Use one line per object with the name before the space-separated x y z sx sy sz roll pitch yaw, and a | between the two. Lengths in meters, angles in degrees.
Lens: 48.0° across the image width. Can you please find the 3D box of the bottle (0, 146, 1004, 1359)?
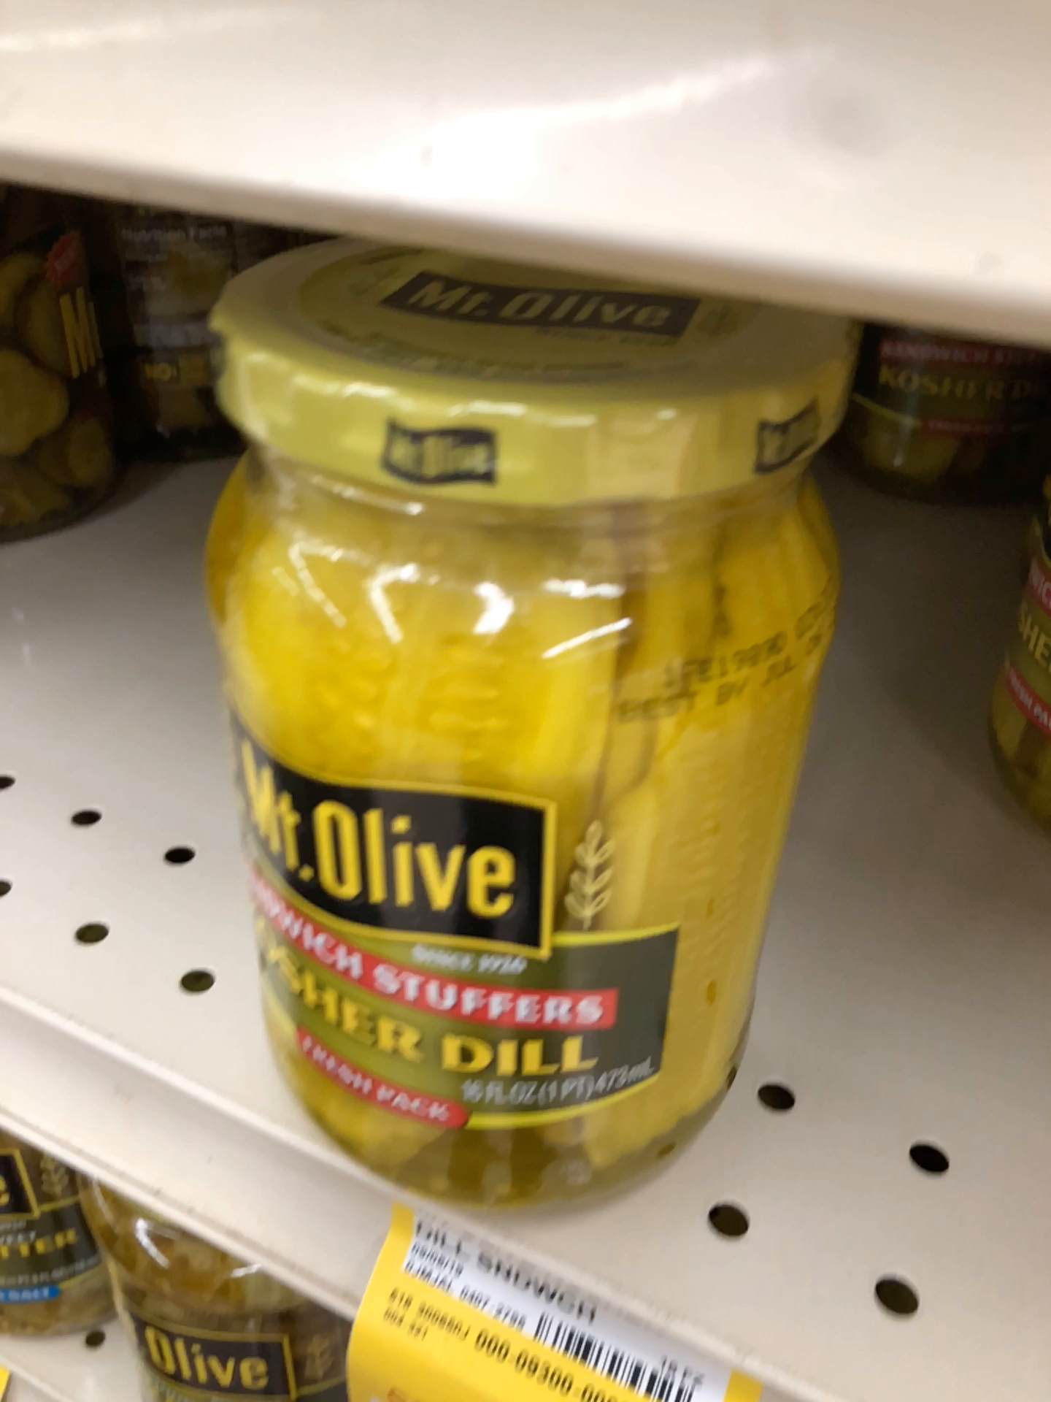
bottle | -0.003 0.002 0.169 0.090 0.130 0.080 20 38 24
